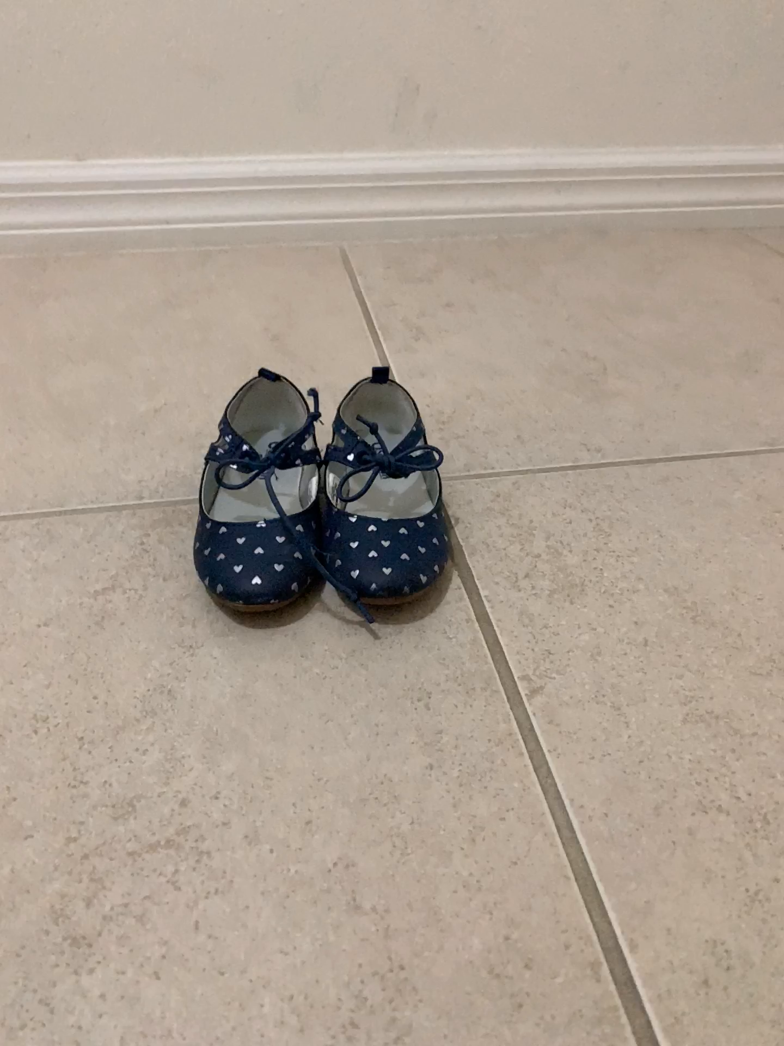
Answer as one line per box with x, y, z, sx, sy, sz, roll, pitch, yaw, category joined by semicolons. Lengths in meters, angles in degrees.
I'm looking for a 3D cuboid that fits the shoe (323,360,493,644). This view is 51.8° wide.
0.001;-0.021;0.426;0.070;0.061;0.172;-2;36;-4;shoe

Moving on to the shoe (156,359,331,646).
-0.070;-0.020;0.424;0.070;0.061;0.172;-2;36;-4;shoe
